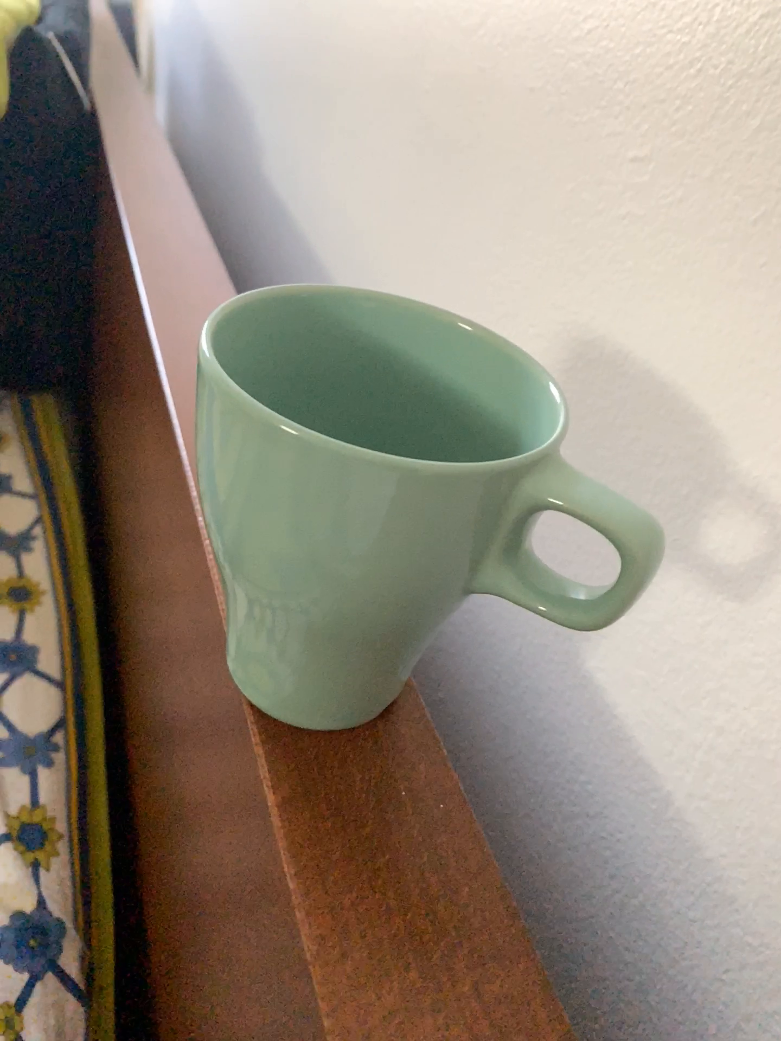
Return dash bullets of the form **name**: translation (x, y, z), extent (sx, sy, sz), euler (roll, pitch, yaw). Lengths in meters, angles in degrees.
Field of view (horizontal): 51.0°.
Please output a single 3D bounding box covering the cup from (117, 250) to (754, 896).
- **cup**: translation (0.005, 0.005, 0.212), extent (0.123, 0.091, 0.082), euler (30, 41, 18)
